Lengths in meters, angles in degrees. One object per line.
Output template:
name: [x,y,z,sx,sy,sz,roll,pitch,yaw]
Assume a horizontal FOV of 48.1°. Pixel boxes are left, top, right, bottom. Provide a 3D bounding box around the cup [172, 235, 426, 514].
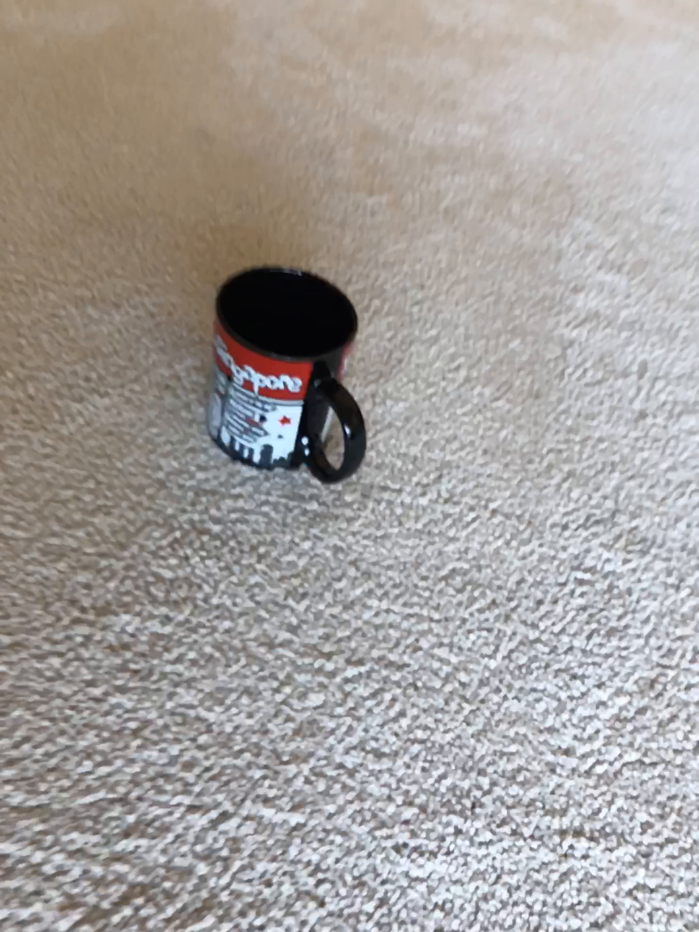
cup: [-0.038,-0.060,0.480,0.090,0.090,0.130,-20,56,-29]
